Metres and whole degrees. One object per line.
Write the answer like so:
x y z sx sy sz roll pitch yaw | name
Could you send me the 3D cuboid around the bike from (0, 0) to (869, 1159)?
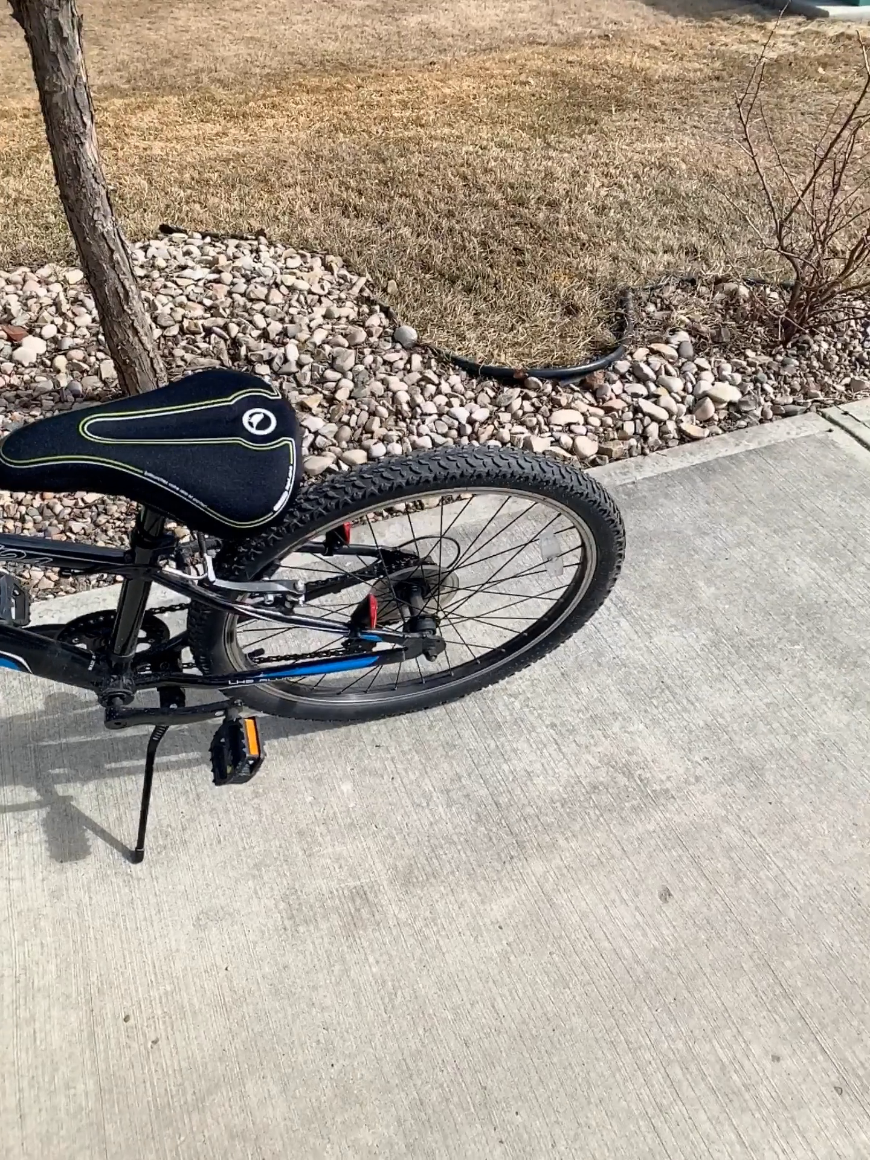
-0.422 0.122 0.875 1.390 0.886 0.516 -19 46 -11 | bike
